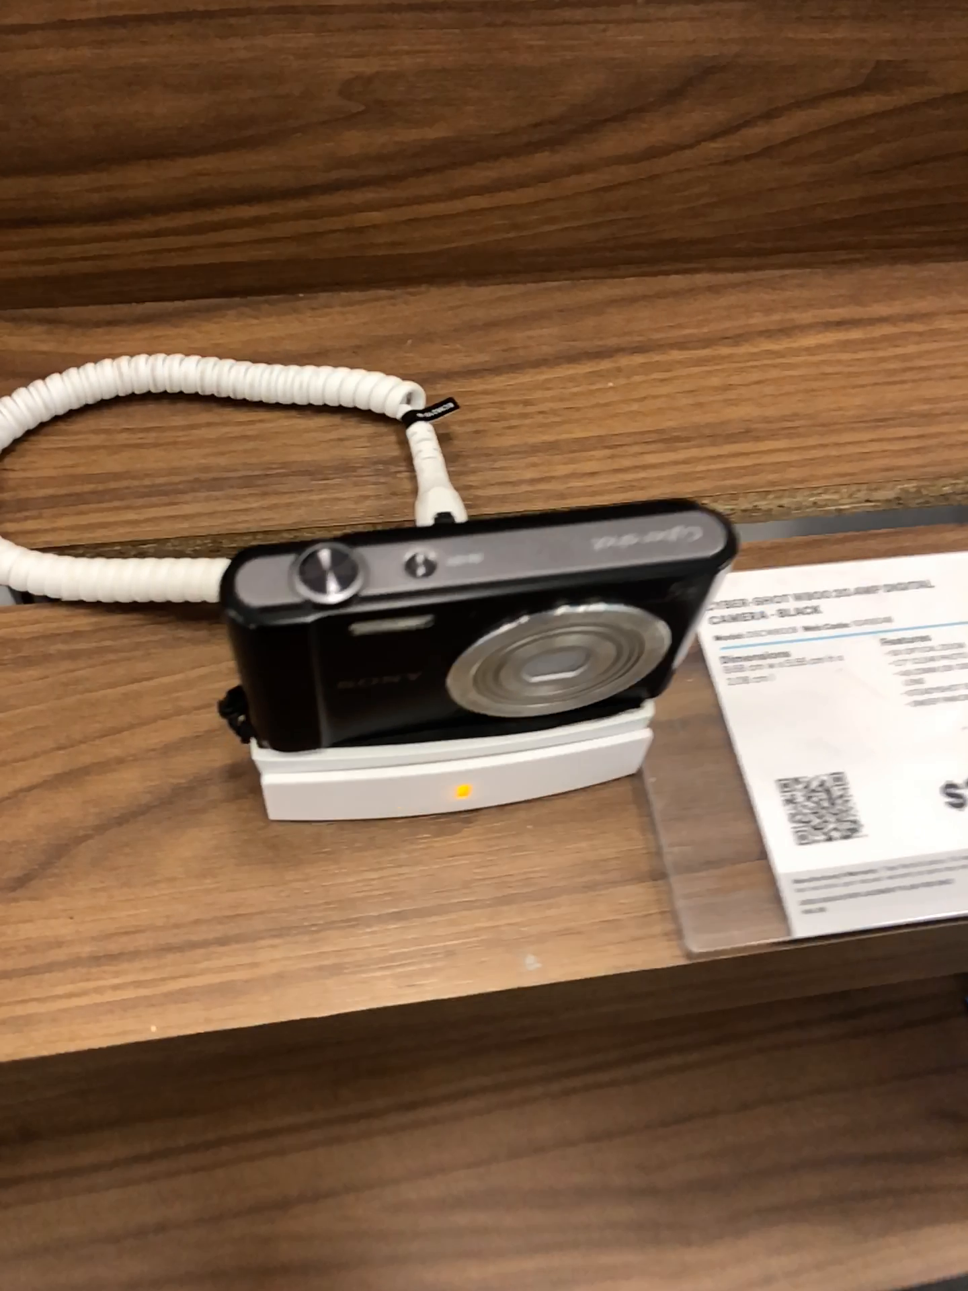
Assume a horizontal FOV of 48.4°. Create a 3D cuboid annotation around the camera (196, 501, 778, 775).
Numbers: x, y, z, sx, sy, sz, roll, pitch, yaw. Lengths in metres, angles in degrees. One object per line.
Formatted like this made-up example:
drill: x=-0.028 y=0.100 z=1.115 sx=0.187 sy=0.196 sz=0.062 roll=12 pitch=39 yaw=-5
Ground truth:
camera: x=-0.001 y=0.000 z=0.215 sx=0.100 sy=0.060 sz=0.020 roll=-6 pitch=64 yaw=-8
